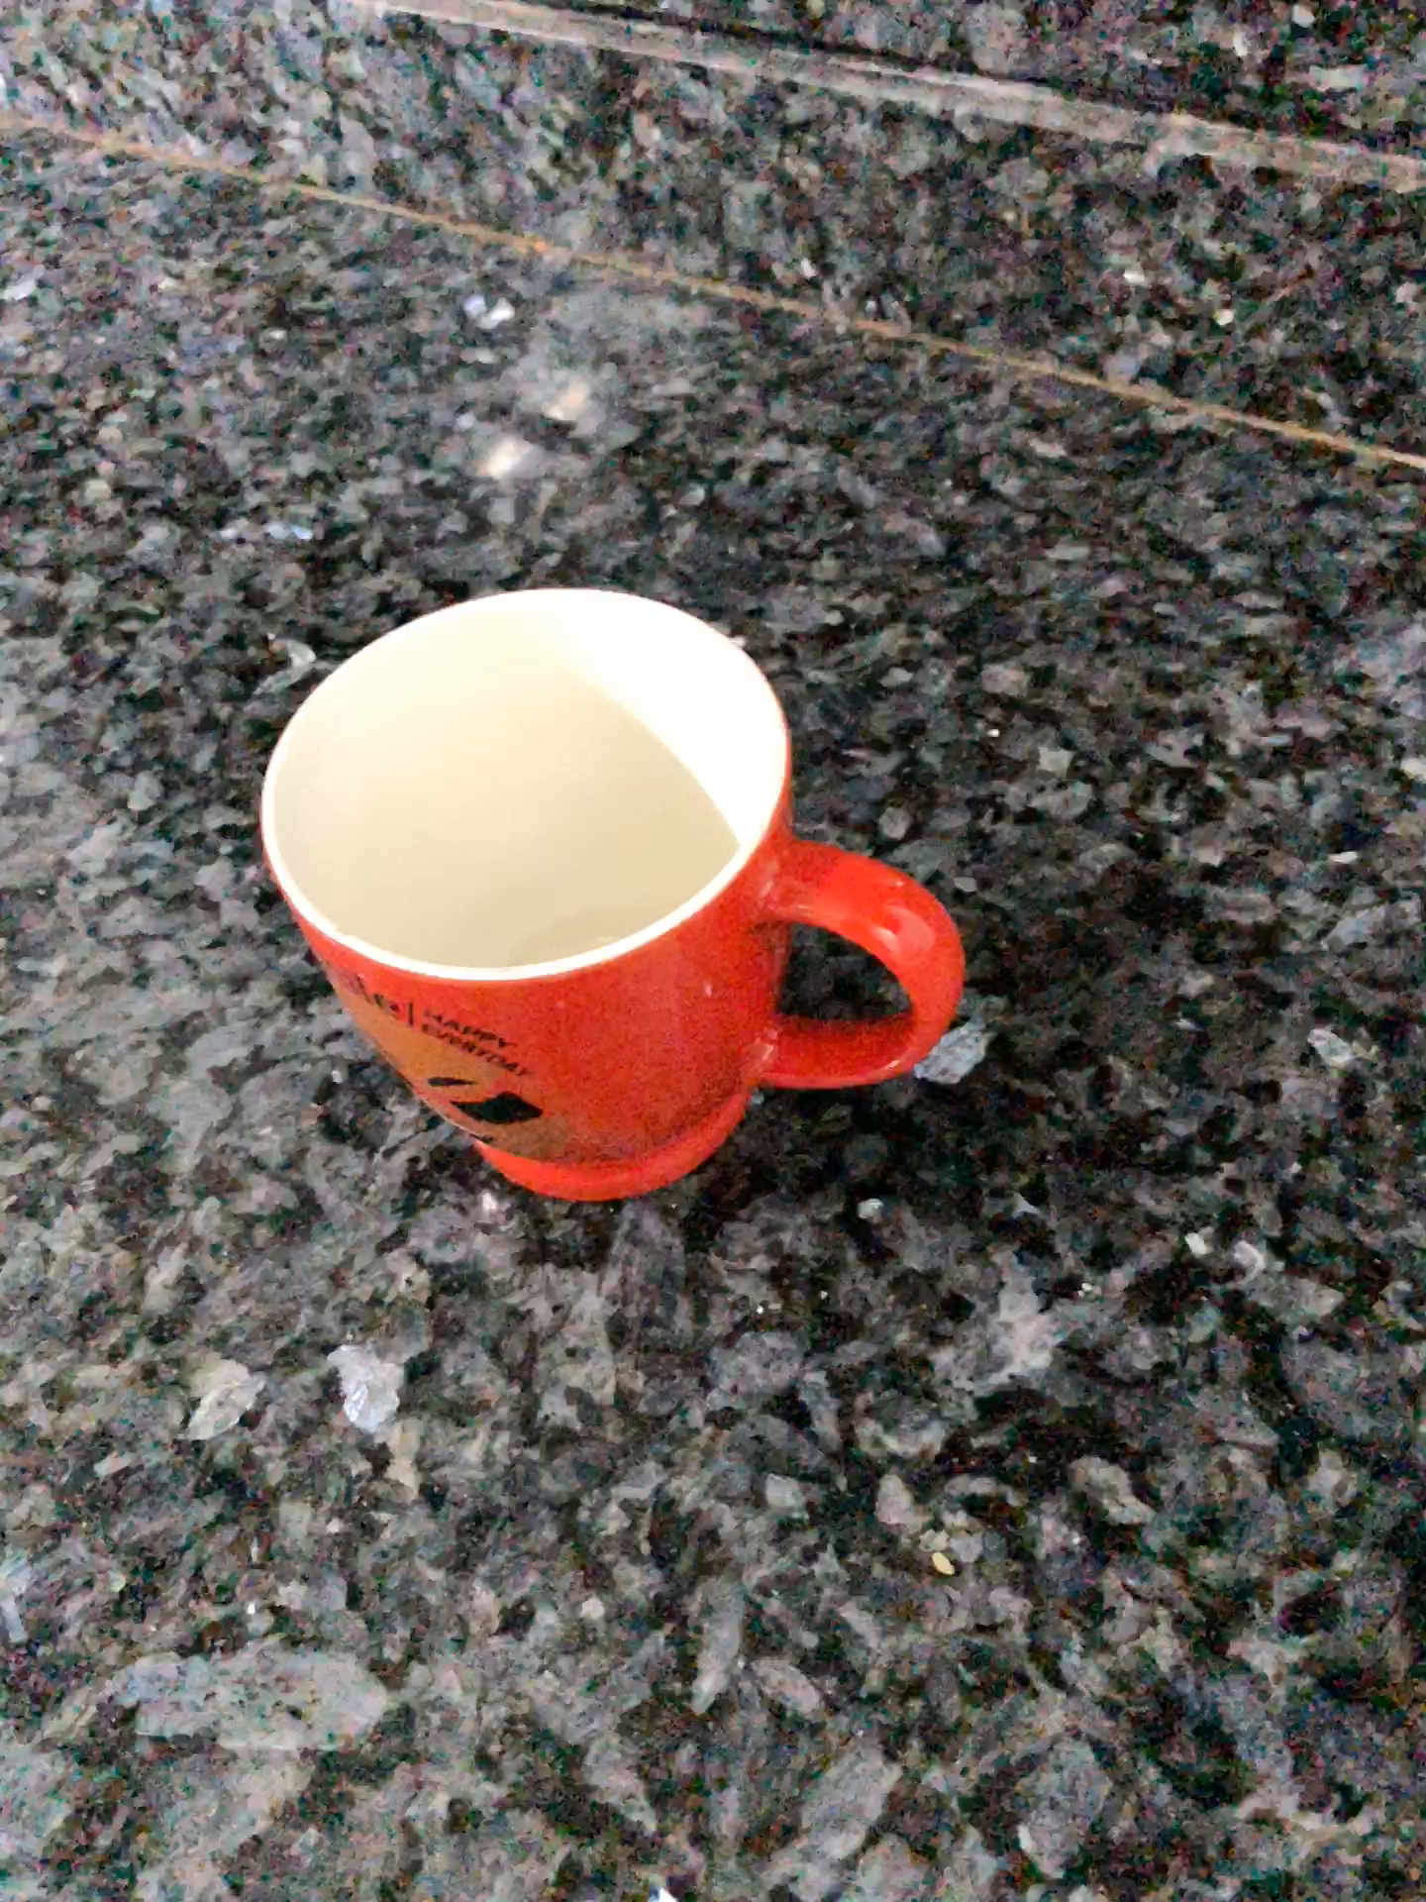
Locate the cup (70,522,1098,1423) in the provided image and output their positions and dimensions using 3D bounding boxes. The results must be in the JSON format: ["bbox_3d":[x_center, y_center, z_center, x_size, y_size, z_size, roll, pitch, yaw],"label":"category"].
[{"bbox_3d":[-0.014,0.000,0.214,0.110,0.070,0.070,21,58,20],"label":"cup"}]
